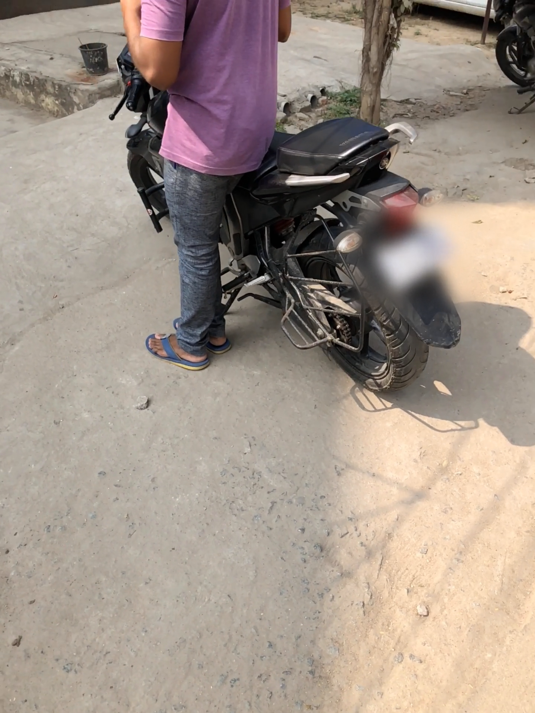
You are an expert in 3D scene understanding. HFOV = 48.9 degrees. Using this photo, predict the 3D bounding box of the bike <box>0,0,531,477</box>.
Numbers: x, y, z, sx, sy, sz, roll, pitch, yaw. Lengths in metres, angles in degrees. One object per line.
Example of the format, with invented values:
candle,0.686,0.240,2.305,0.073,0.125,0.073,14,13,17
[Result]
bike,-0.255,-0.602,1.908,0.686,0.959,1.689,-26,47,-30
